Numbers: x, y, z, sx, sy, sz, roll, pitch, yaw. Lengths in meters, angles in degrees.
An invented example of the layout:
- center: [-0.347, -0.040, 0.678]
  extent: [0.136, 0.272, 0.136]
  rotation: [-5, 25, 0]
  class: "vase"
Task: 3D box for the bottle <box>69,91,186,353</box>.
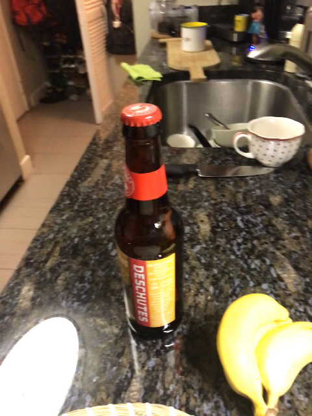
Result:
- center: [-0.012, 0.023, 0.257]
  extent: [0.060, 0.199, 0.060]
  rotation: [-2, 36, 2]
  class: "bottle"
